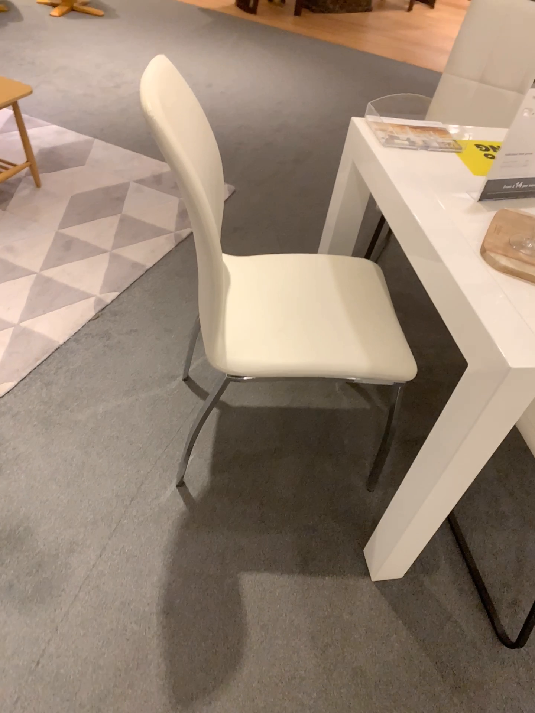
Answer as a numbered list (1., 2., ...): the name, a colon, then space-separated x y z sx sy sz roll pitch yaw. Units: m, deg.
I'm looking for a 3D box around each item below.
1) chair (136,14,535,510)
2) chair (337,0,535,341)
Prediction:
1. chair: 0.045 -0.129 1.223 0.609 0.937 0.492 0 45 -10
2. chair: 0.653 -0.636 1.820 0.478 0.907 0.574 24 46 13
